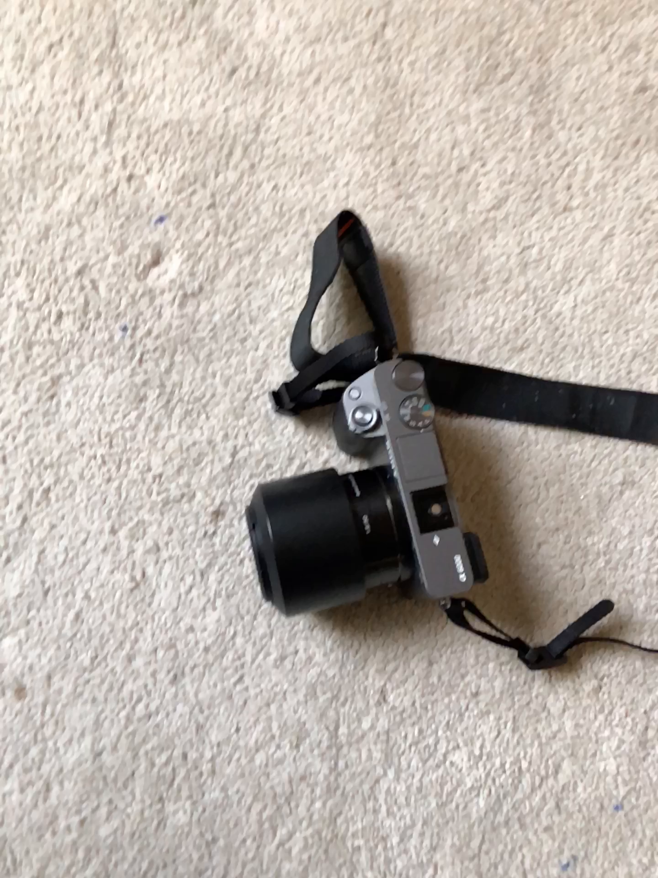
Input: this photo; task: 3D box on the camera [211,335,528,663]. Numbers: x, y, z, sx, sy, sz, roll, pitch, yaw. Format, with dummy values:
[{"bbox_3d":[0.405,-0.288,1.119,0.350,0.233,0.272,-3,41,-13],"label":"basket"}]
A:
[{"bbox_3d":[0.014,0.032,0.375,0.120,0.080,0.130,-12,78,-9],"label":"camera"}]
